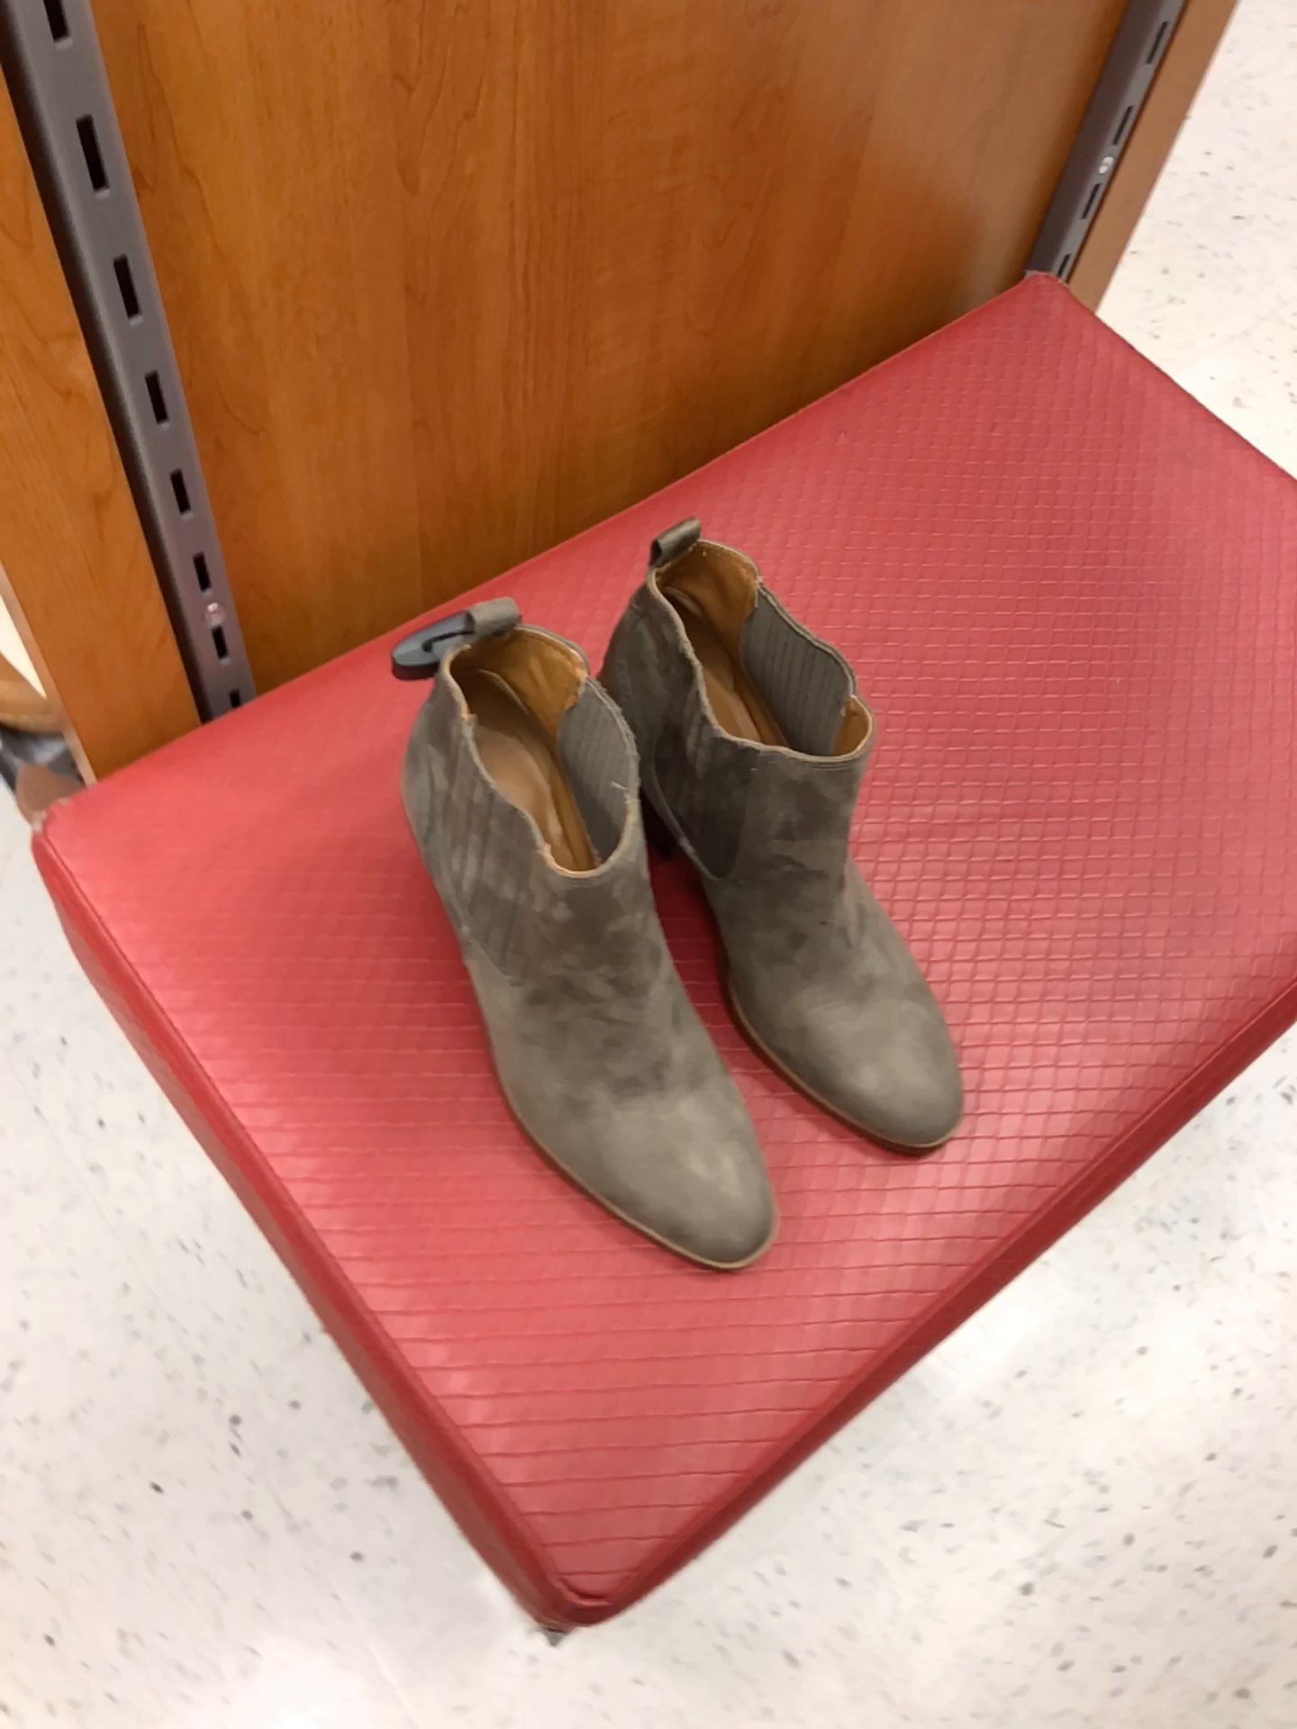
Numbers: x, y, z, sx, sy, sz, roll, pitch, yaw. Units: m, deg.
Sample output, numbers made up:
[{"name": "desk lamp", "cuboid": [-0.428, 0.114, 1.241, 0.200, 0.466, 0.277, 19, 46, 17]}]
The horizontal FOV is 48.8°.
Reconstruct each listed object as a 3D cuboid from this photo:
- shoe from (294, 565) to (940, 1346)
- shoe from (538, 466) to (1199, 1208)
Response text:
[{"name": "shoe", "cuboid": [-0.025, 0.038, 0.562, 0.097, 0.160, 0.251, -30, 68, -21]}, {"name": "shoe", "cuboid": [0.070, -0.011, 0.593, 0.107, 0.150, 0.251, -30, 68, -21]}]
